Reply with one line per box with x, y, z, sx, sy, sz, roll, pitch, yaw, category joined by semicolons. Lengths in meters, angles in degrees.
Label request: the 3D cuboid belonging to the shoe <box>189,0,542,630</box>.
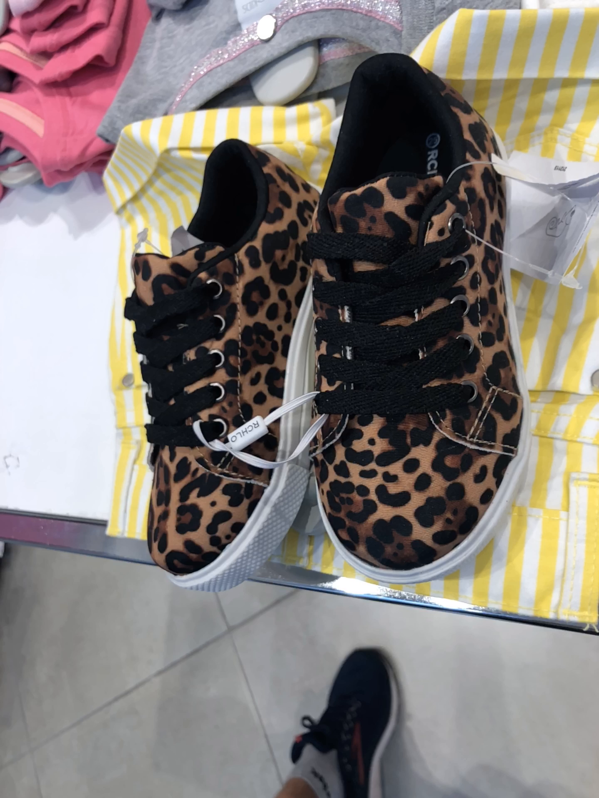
0.028;-0.023;0.231;0.080;0.080;0.170;3;84;32;shoe

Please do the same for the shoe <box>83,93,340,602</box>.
-0.037;-0.015;0.269;0.080;0.060;0.170;-6;78;58;shoe
